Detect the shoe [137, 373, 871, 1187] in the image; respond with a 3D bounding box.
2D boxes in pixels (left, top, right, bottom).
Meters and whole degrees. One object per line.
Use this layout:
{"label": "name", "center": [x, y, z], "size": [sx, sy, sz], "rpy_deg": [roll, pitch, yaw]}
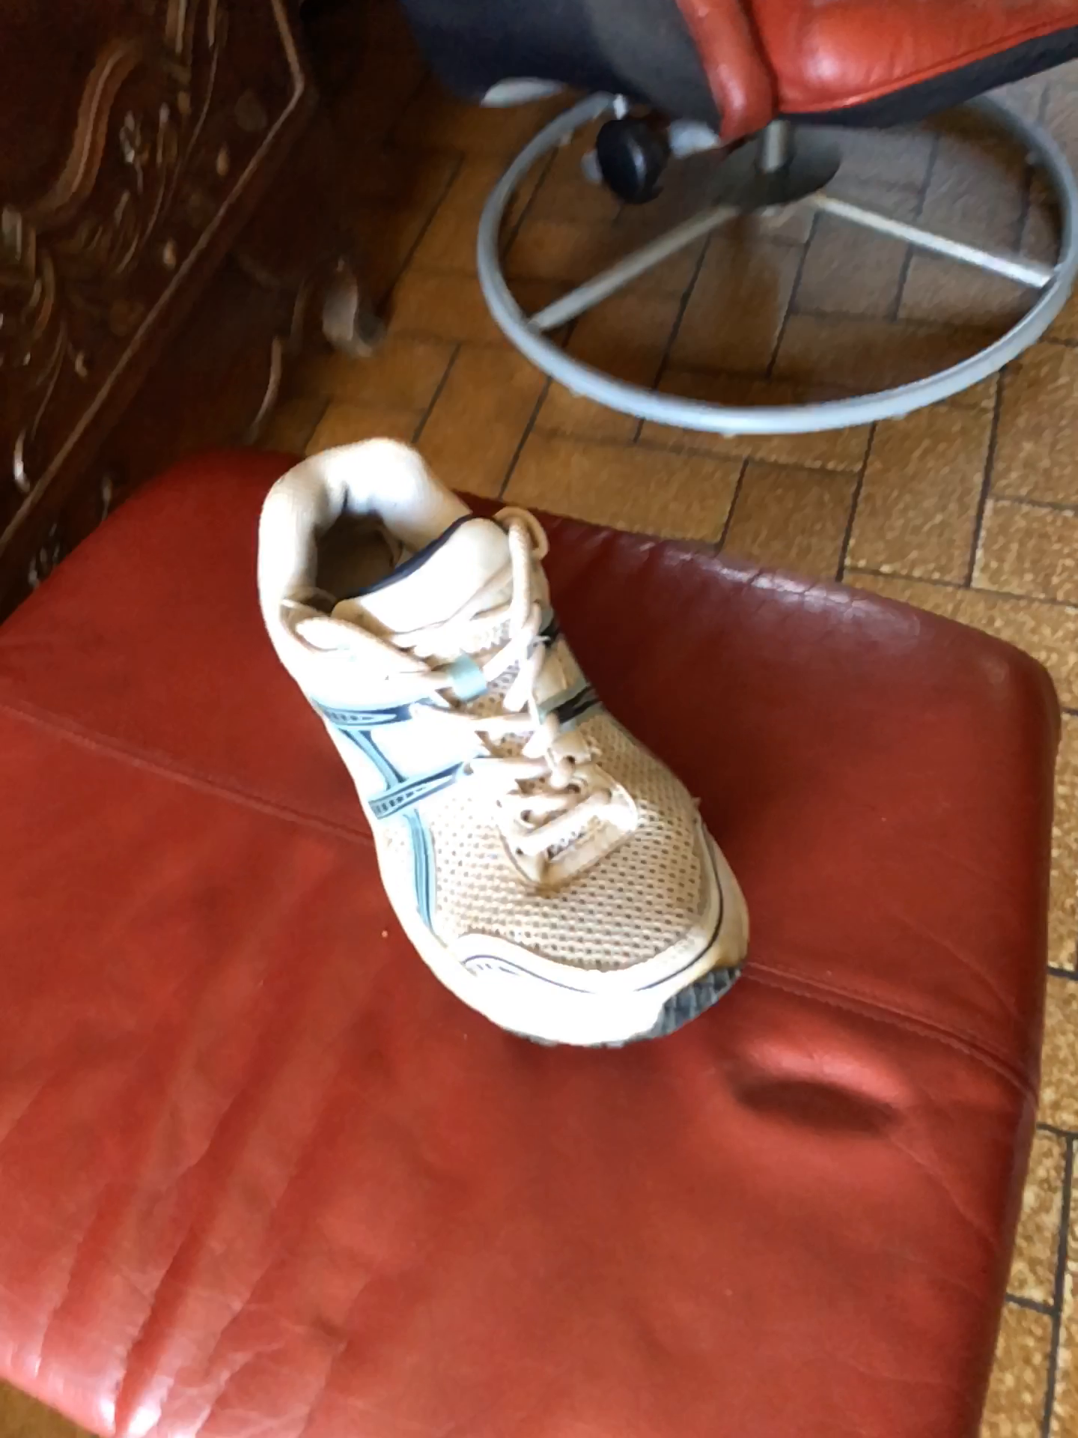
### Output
{"label": "shoe", "center": [-0.025, 0.005, 0.423], "size": [0.120, 0.080, 0.271], "rpy_deg": [-31, 59, -13]}
